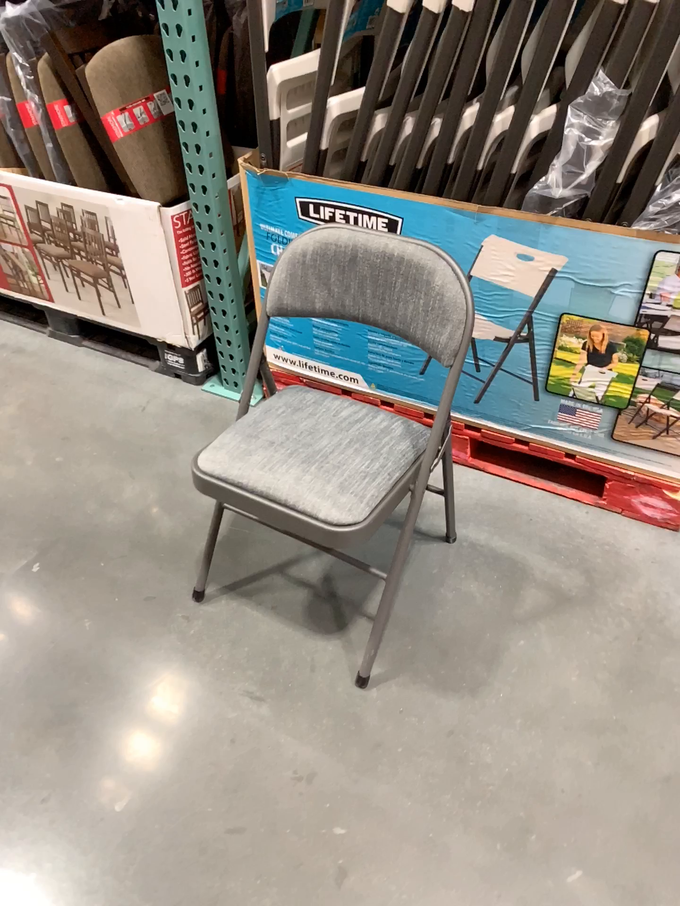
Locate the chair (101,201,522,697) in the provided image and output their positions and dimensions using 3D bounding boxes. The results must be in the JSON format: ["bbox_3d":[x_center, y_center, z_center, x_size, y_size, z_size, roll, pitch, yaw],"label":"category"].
[{"bbox_3d":[-0.020,-0.019,1.350,0.495,0.688,0.503,20,46,23],"label":"chair"}]
